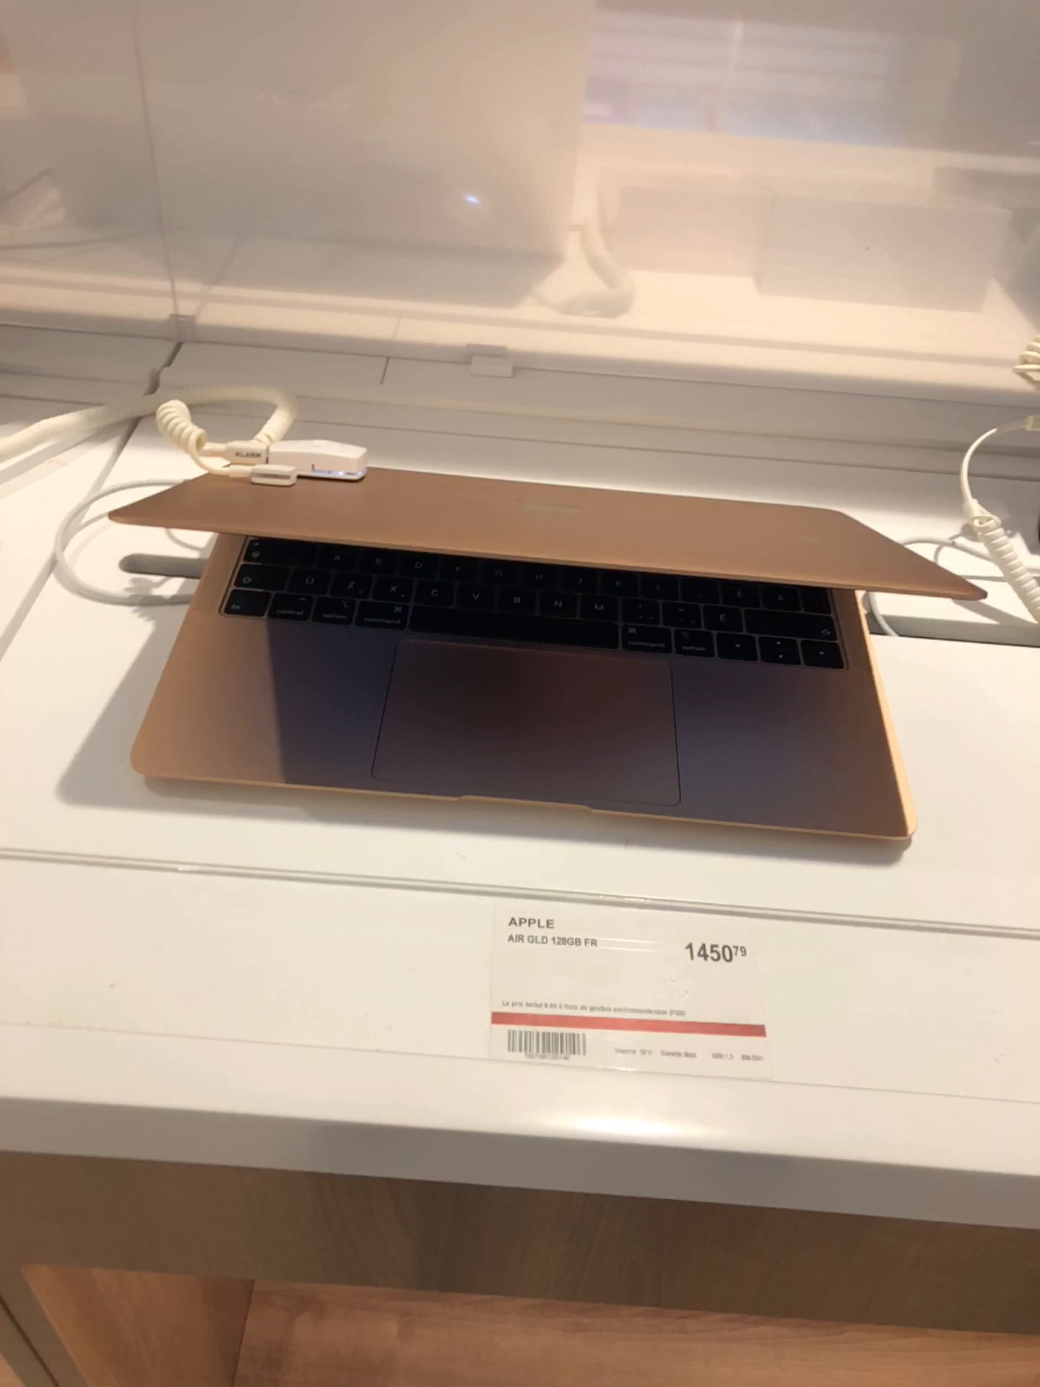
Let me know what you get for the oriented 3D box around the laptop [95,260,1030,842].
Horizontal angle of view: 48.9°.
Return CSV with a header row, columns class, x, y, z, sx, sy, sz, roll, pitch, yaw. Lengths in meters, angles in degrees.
class,x,y,z,sx,sy,sz,roll,pitch,yaw
laptop,0.007,-0.076,0.483,0.298,0.104,0.226,5,41,2
